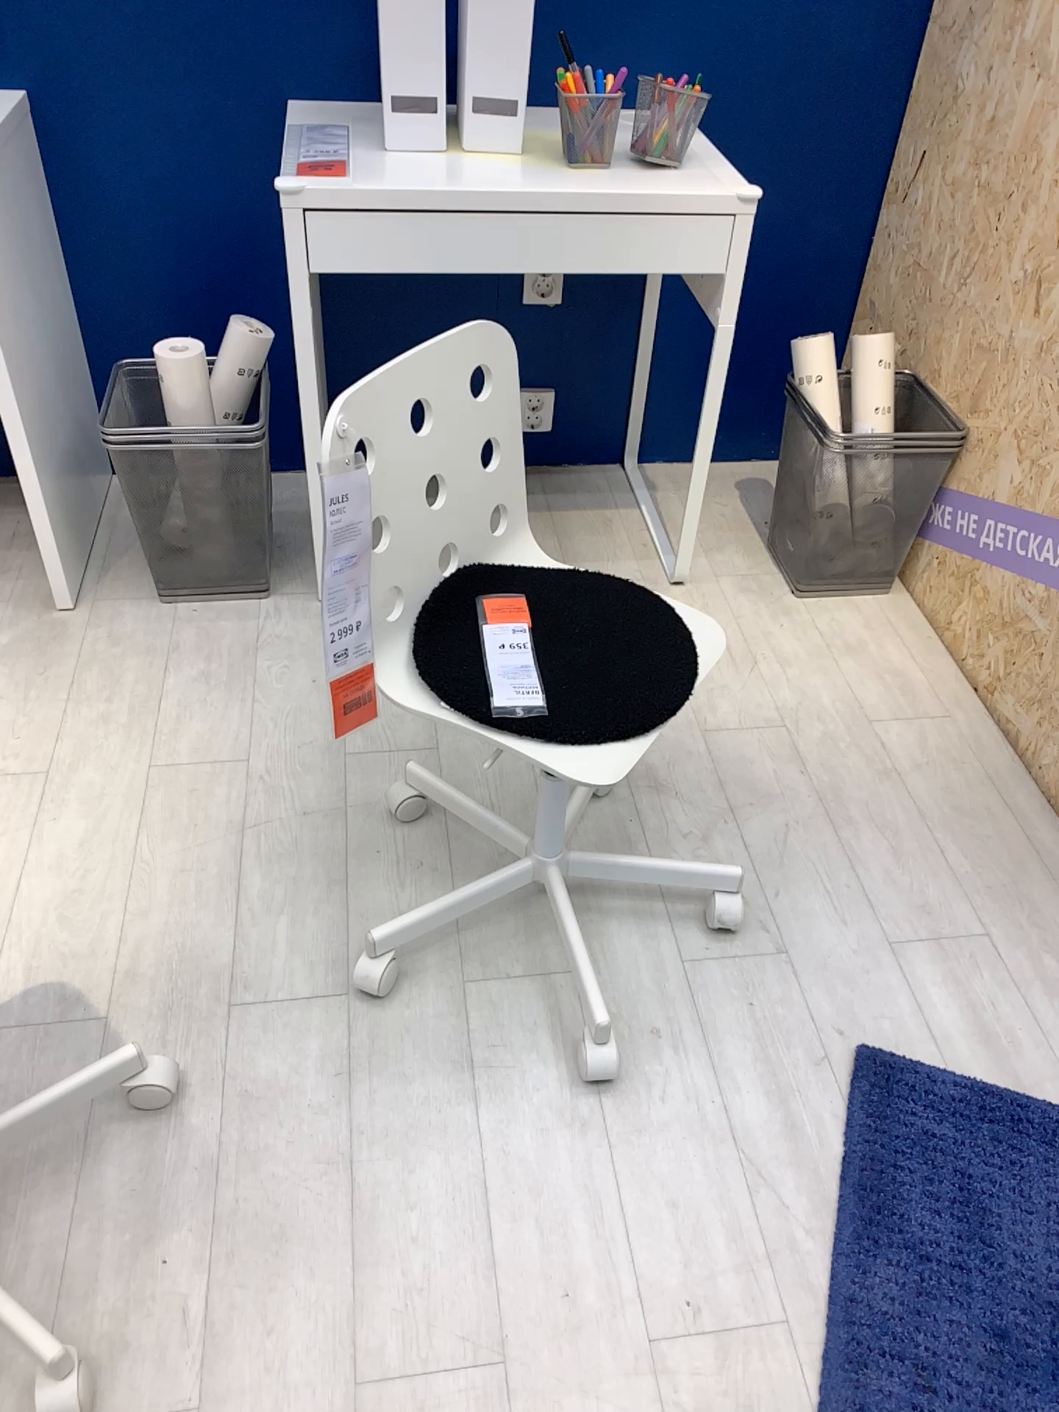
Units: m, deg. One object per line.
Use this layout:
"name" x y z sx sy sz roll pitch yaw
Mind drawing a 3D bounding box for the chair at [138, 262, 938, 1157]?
"chair" 0.028 -0.020 1.327 0.590 0.736 0.603 22 44 19
